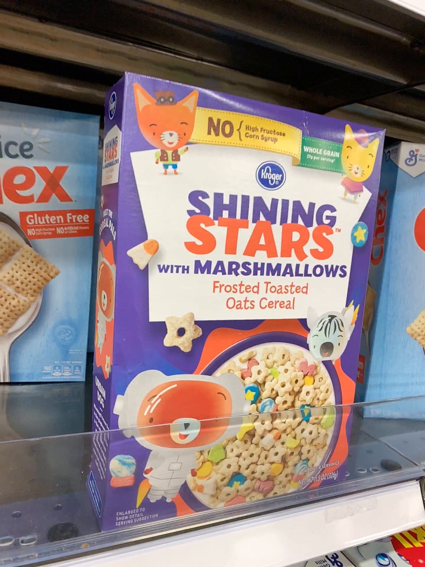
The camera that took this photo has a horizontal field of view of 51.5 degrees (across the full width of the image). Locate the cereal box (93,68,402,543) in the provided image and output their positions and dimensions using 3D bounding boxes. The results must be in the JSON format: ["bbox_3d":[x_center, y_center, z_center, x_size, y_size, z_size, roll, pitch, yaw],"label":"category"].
[{"bbox_3d":[0.027,0.018,0.313,0.200,0.270,0.050,0,8,-26],"label":"cereal box"}]
